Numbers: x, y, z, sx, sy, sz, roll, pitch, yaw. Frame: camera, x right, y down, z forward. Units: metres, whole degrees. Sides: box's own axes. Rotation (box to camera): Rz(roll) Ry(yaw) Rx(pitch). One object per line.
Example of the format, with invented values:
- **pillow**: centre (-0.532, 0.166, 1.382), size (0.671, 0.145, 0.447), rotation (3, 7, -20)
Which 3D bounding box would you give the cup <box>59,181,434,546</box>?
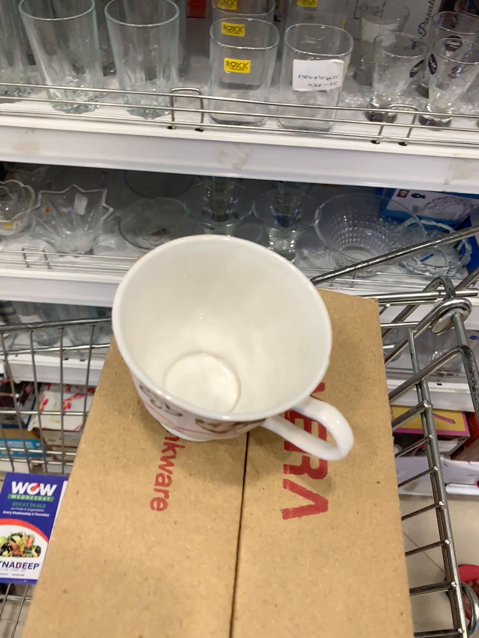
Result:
- **cup**: centre (0.000, 0.013, 0.191), size (0.100, 0.060, 0.080), rotation (42, 61, 19)
